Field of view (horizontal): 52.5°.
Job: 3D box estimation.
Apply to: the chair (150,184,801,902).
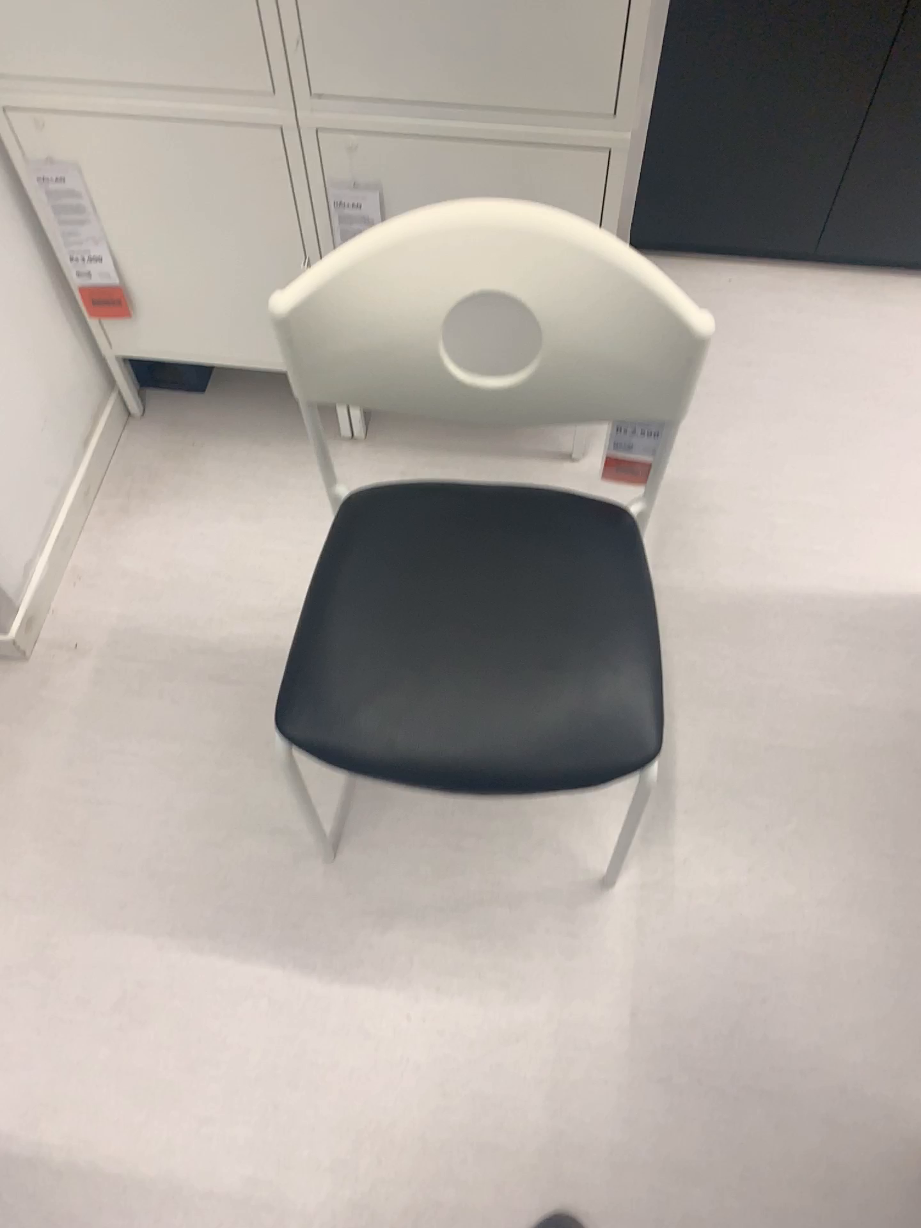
[{"bbox_3d":[0.030,-0.014,1.148,0.480,0.768,0.511,3,60,3],"label":"chair"}]
